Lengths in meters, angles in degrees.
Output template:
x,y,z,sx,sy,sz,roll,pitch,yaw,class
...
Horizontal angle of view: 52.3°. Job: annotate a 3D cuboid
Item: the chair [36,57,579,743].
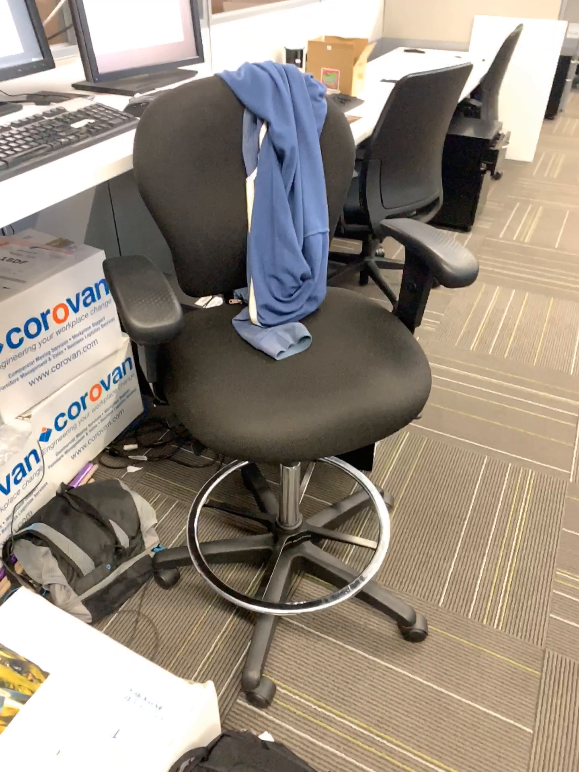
x,y,z,sx,sy,sz,roll,pitch,yaw,class
-0.016,-0.022,1.269,0.740,1.064,0.845,-11,39,-15,chair
